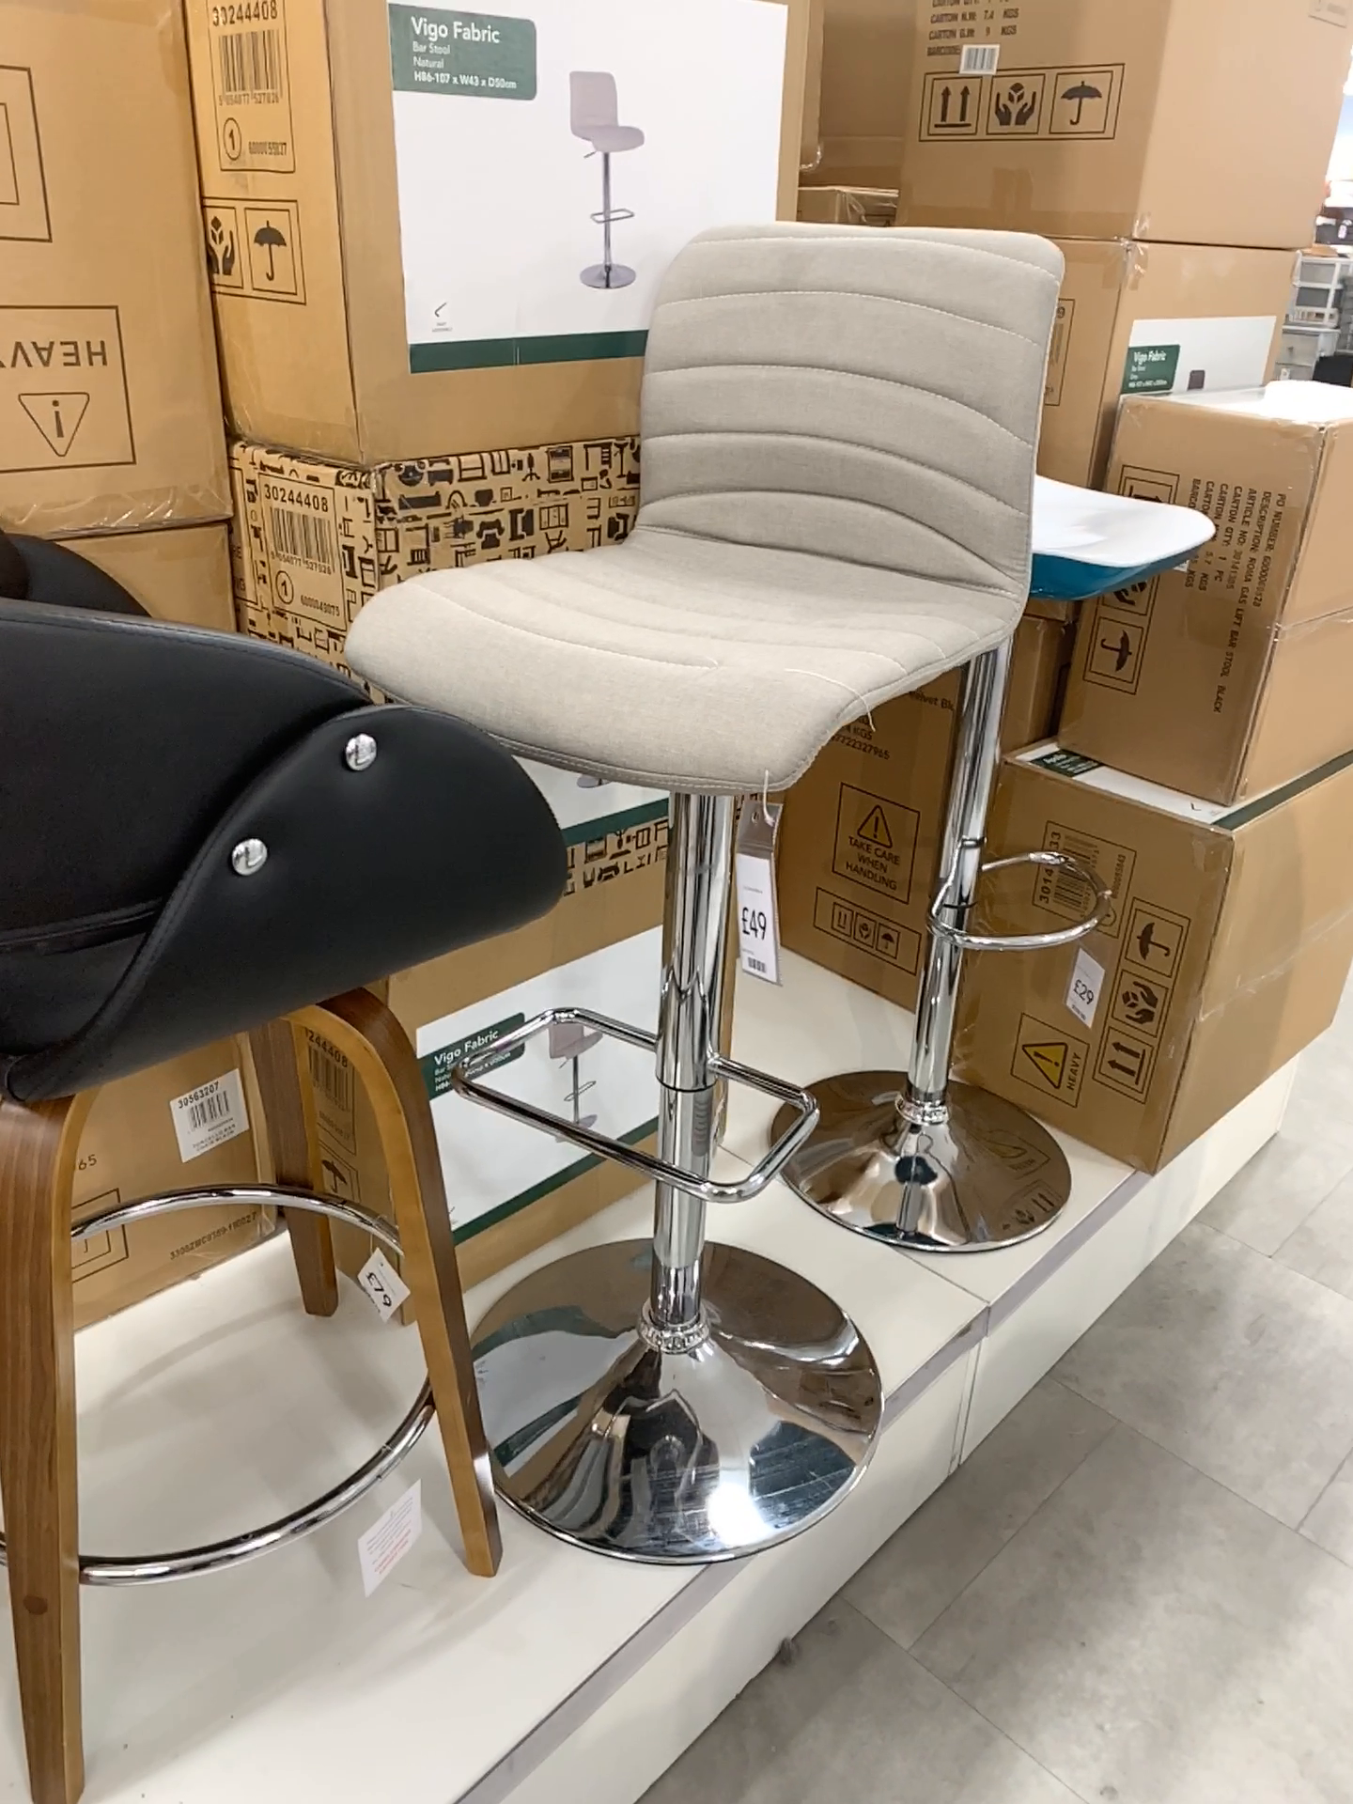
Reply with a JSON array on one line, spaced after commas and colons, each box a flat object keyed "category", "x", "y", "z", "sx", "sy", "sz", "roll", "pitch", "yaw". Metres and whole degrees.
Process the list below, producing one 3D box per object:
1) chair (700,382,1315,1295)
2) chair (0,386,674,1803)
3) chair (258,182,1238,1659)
[{"category": "chair", "x": 0.328, "y": -0.096, "z": 1.489, "sx": 0.389, "sy": 0.826, "sz": 0.406, "roll": 21, "pitch": 30, "yaw": 34}, {"category": "chair", "x": -0.386, "y": 0.109, "z": 1.029, "sx": 0.536, "sy": 0.866, "sz": 0.490, "roll": 25, "pitch": 32, "yaw": 39}, {"category": "chair", "x": 0.041, "y": -0.024, "z": 1.151, "sx": 0.466, "sy": 0.985, "sz": 0.510, "roll": 21, "pitch": 30, "yaw": 34}]
